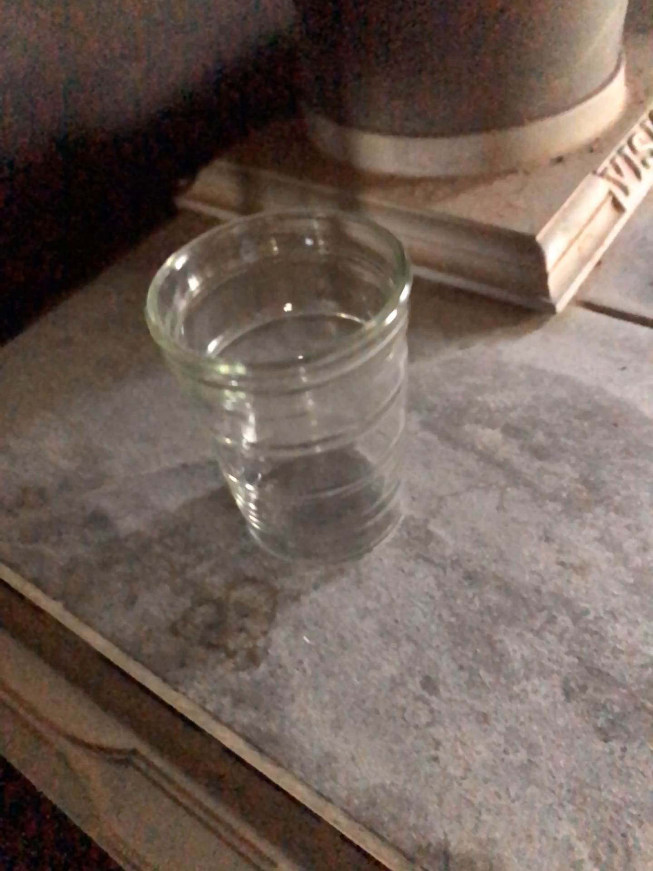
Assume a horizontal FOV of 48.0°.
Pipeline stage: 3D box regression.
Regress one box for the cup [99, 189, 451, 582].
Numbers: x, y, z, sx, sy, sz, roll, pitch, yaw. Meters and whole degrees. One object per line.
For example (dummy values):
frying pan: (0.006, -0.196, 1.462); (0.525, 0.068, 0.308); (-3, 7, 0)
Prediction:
cup: (-0.004, -0.014, 0.207); (0.070, 0.080, 0.070); (-5, 47, 6)
